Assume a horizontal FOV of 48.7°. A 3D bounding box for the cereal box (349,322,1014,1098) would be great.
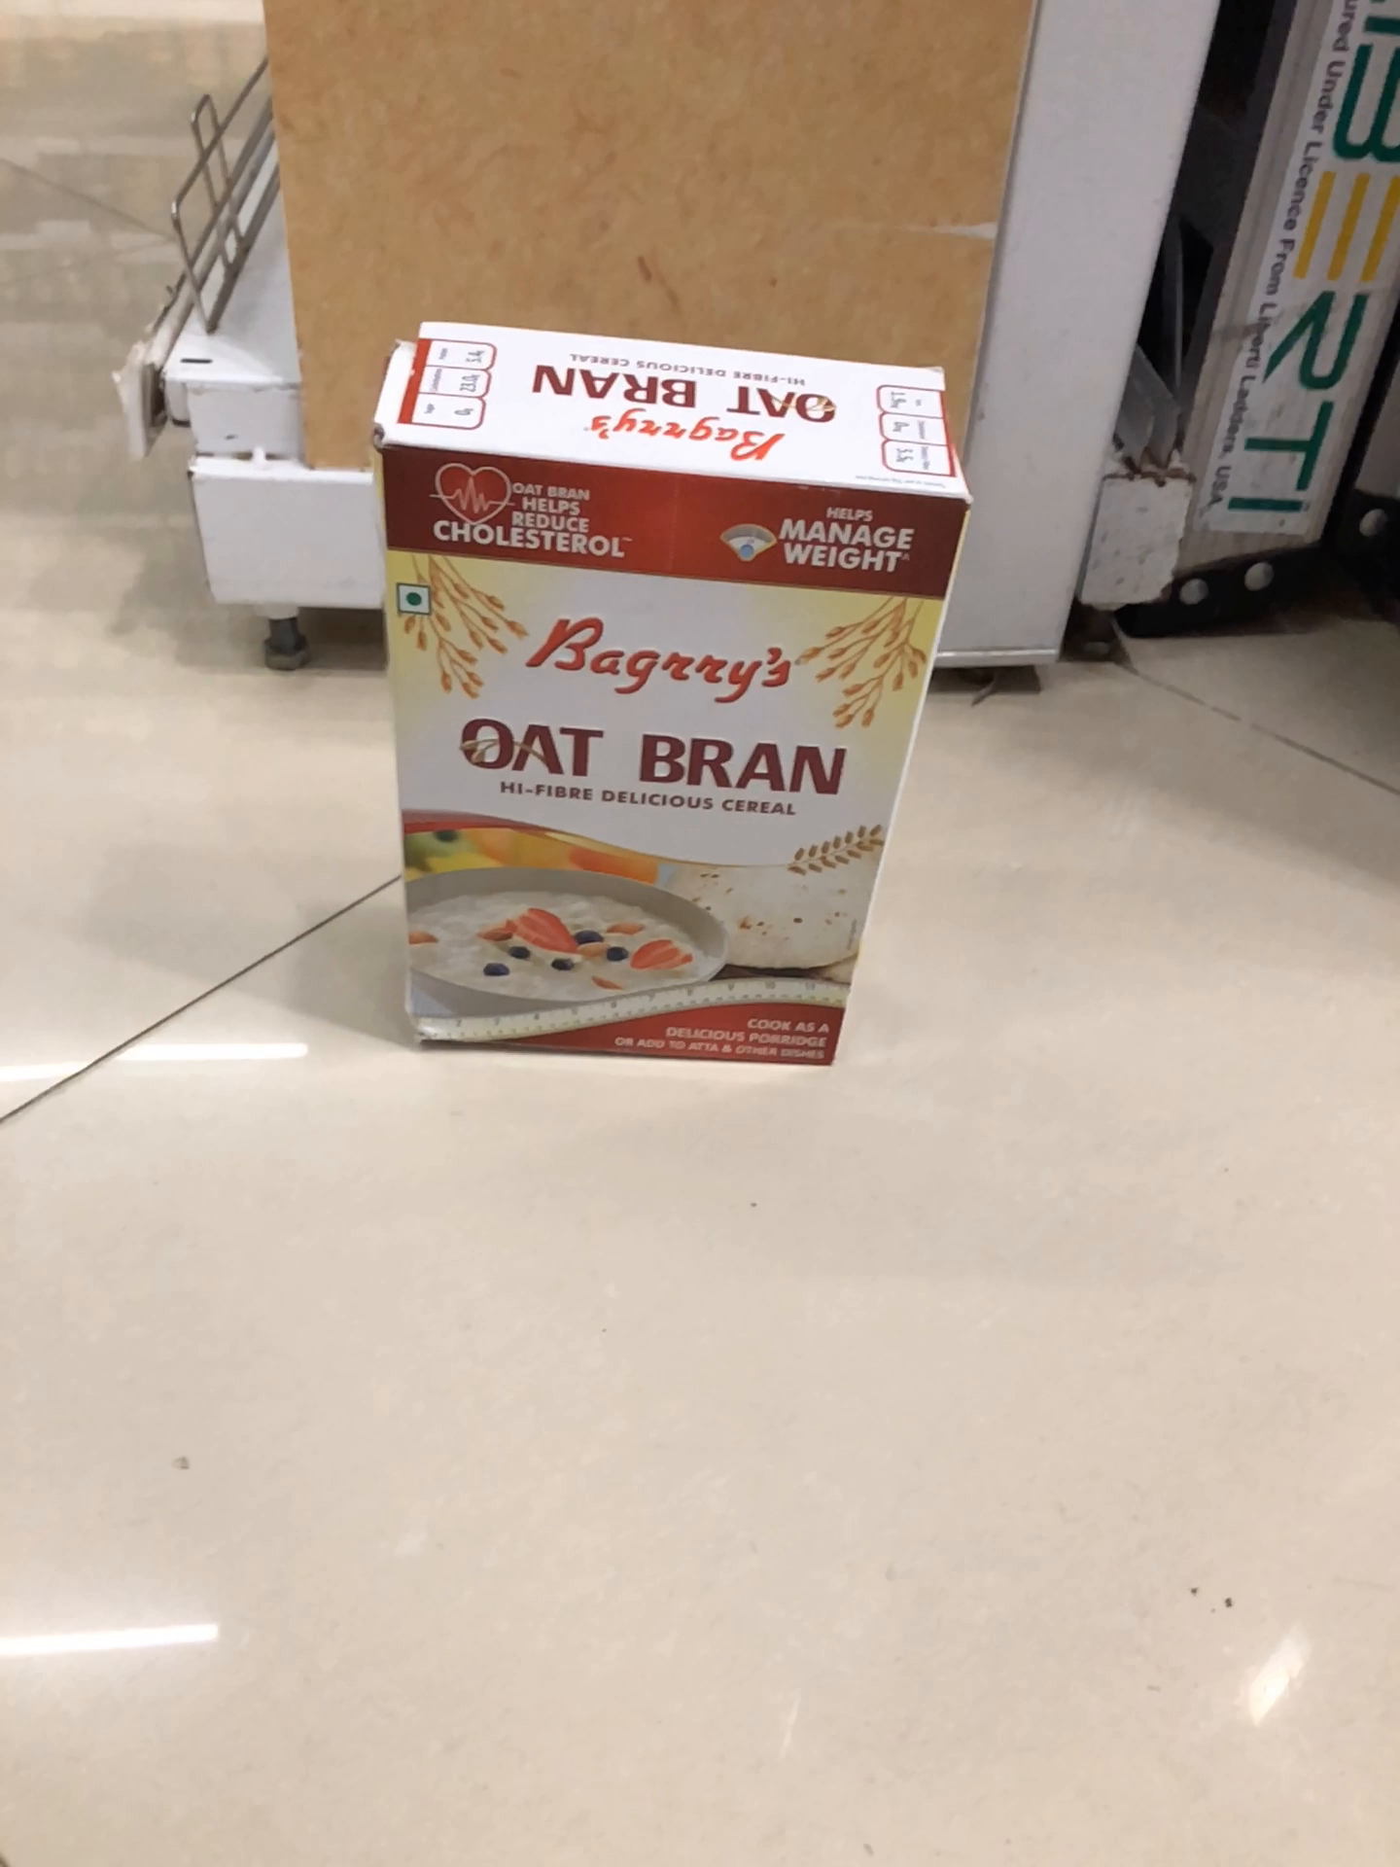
[{"bbox_3d":[-0.009,-0.051,0.441,0.150,0.208,0.060,5,43,0],"label":"cereal box"}]
